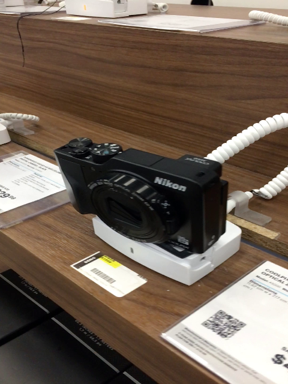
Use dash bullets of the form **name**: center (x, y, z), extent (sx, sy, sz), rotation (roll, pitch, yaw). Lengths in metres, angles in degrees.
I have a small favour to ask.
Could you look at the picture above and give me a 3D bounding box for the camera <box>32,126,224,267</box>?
- **camera**: center (-0.012, 0.000, 0.280), extent (0.125, 0.074, 0.037), rotation (18, 47, 29)
